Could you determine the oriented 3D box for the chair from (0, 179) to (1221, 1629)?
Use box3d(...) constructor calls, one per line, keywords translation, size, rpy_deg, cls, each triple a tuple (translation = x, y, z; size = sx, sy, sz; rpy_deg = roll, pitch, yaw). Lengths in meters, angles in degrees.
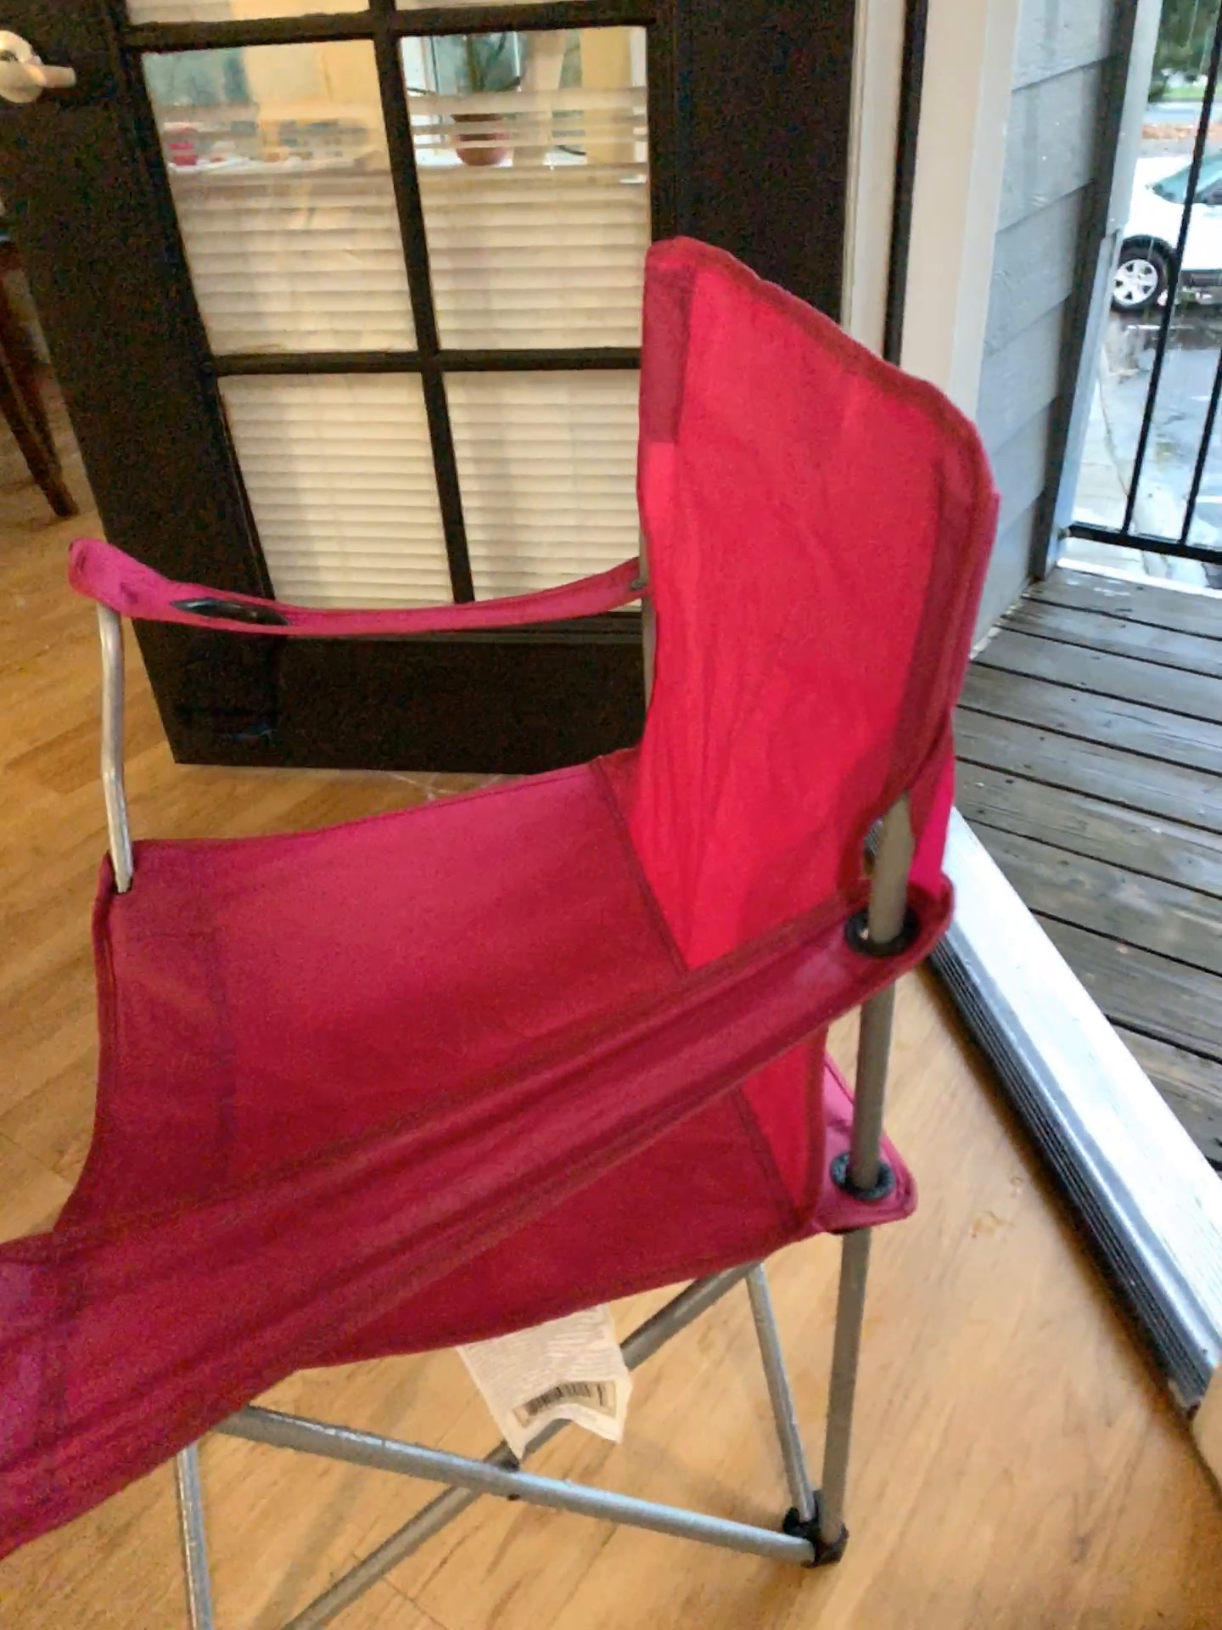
box3d(translation=(-0.075, 0.098, 0.792), size=(0.670, 0.776, 0.653), rpy_deg=(-8, 35, -7), cls="chair")
